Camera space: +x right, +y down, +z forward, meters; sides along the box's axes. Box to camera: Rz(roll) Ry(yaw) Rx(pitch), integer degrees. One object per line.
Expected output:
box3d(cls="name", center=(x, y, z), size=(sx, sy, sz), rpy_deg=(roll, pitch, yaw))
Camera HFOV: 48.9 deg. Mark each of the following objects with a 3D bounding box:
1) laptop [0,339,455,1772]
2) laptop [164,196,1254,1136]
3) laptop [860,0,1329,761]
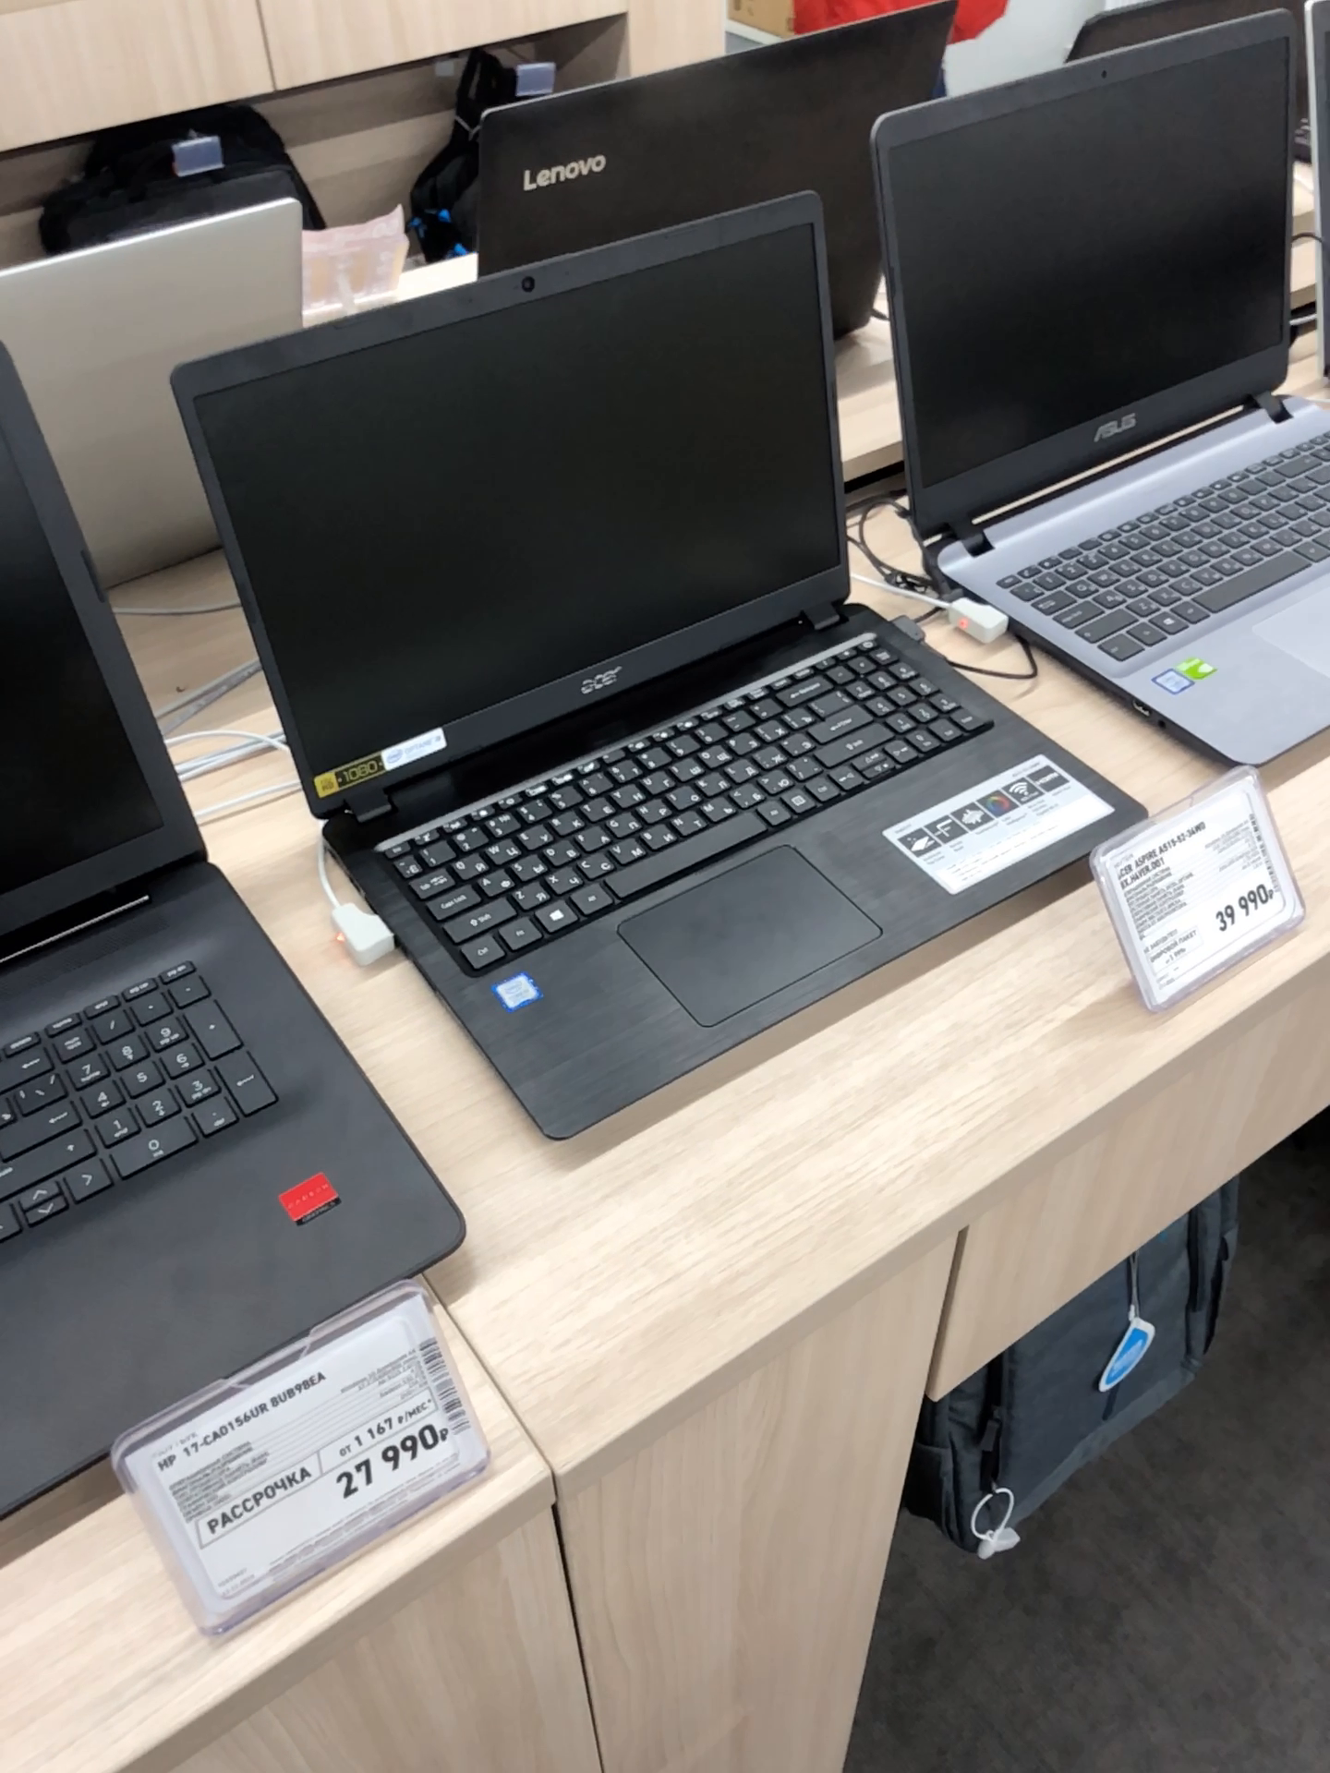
box3d(cls="laptop", center=(-0.335, 0.026, 0.497), size=(0.354, 0.226, 0.346), rpy_deg=(-28, 52, -28))
box3d(cls="laptop", center=(0.013, -0.128, 0.683), size=(0.346, 0.219, 0.292), rpy_deg=(-26, 49, -23))
box3d(cls="laptop", center=(0.351, -0.312, 0.842), size=(0.327, 0.218, 0.325), rpy_deg=(-26, 52, -22))
